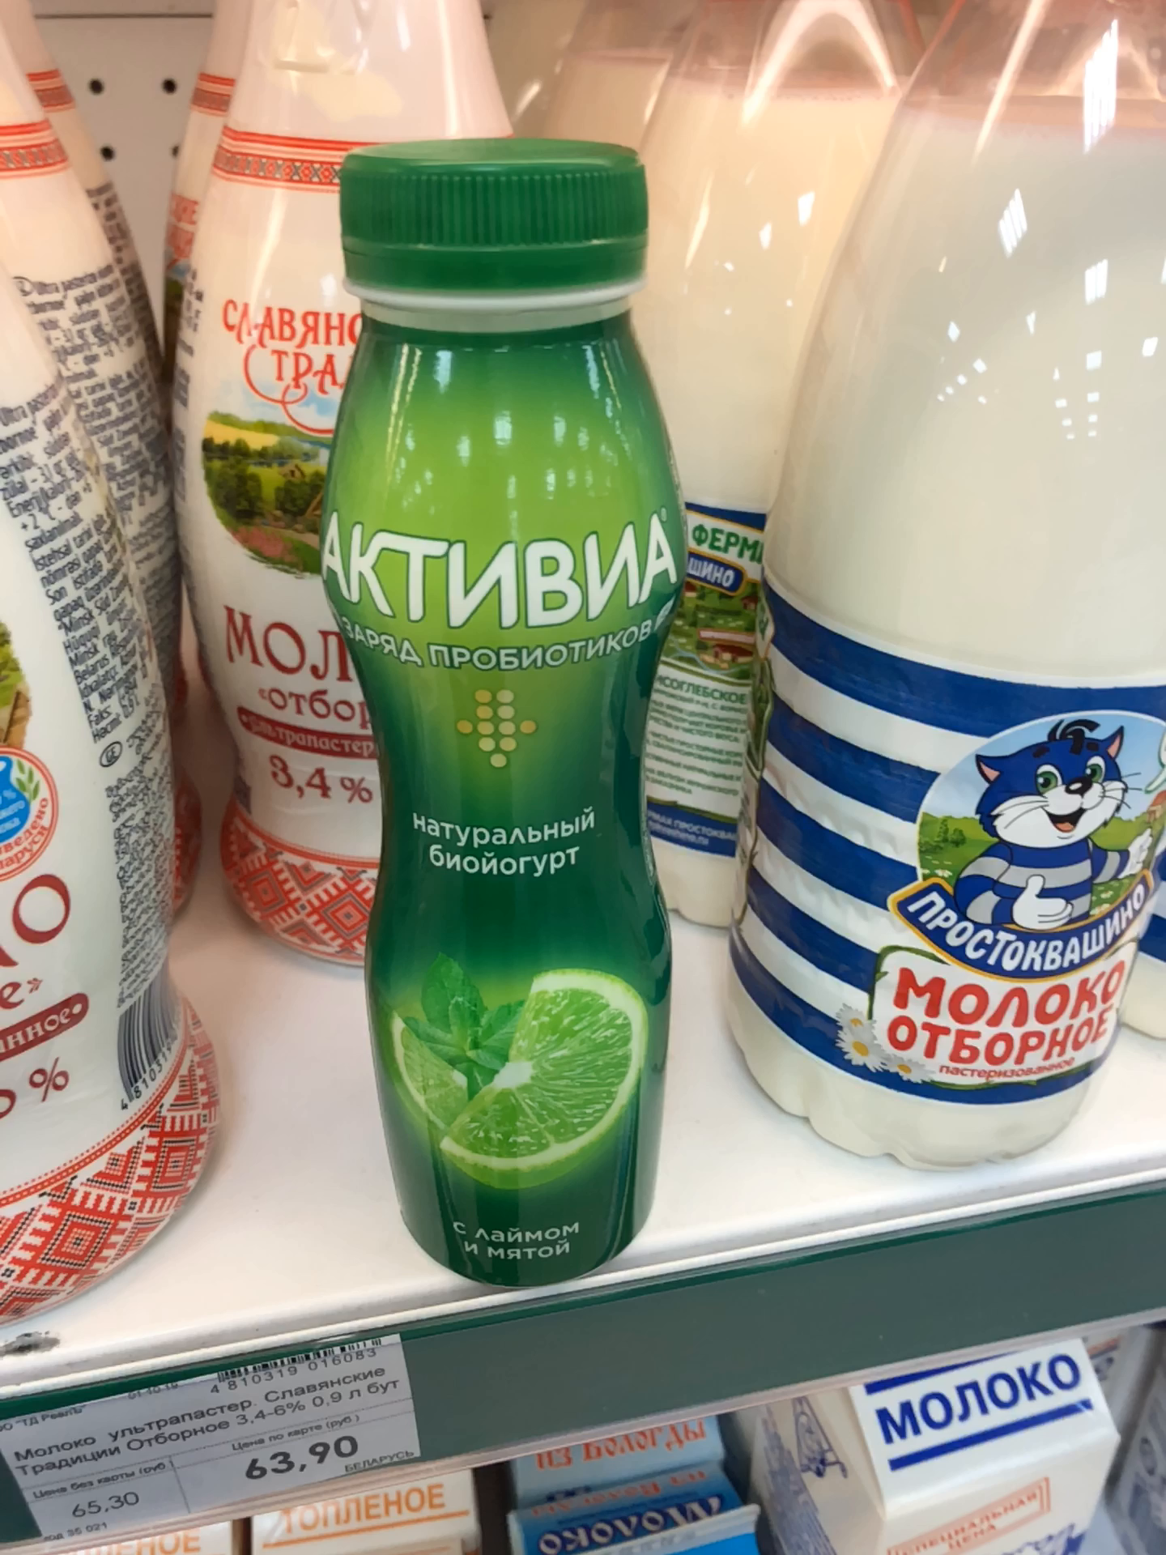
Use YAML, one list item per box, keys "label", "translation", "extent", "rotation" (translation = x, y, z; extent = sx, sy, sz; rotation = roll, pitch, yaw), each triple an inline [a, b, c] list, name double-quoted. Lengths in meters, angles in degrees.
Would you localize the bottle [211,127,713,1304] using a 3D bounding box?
- label: "bottle"
  translation: [-0.013, 0.000, 0.204]
  extent: [0.053, 0.179, 0.052]
  rotation: [0, 30, 0]
